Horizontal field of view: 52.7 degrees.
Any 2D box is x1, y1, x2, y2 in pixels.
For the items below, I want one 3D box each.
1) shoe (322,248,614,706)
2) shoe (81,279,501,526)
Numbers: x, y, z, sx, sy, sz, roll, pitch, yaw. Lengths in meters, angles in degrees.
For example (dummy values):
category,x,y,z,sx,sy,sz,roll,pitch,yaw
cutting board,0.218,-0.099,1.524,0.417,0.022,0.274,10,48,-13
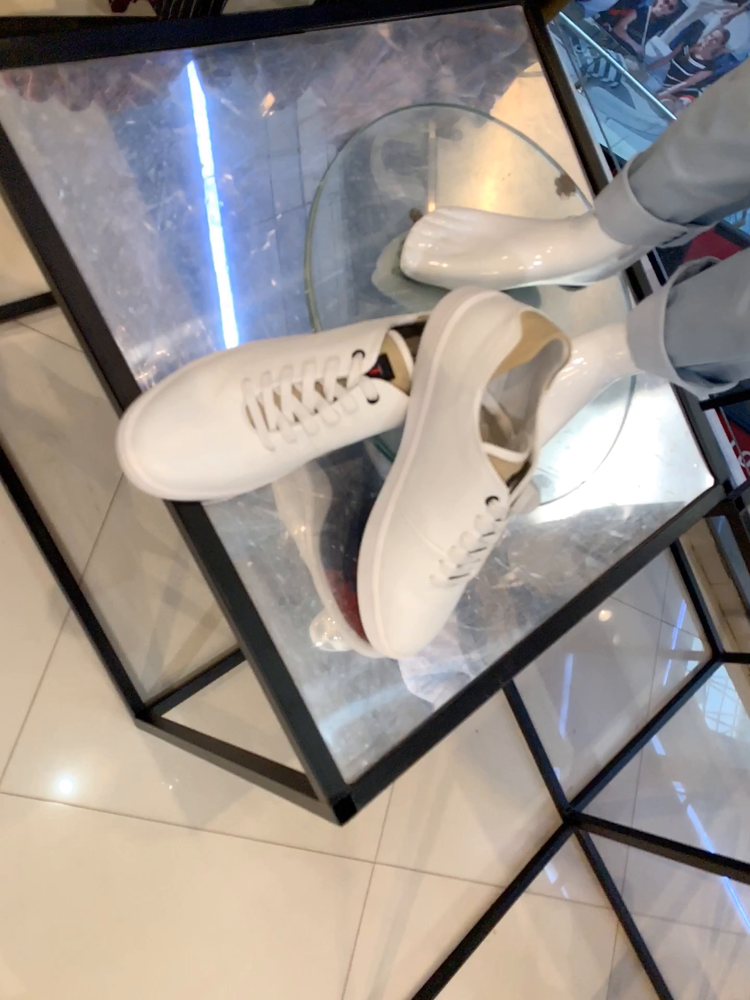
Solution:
category,x,y,z,sx,sy,sz,roll,pitch,yaw
shoe,0.066,-0.013,0.544,0.100,0.080,0.300,11,98,-47
shoe,-0.053,-0.080,0.580,0.291,0.100,0.100,-22,95,-32
